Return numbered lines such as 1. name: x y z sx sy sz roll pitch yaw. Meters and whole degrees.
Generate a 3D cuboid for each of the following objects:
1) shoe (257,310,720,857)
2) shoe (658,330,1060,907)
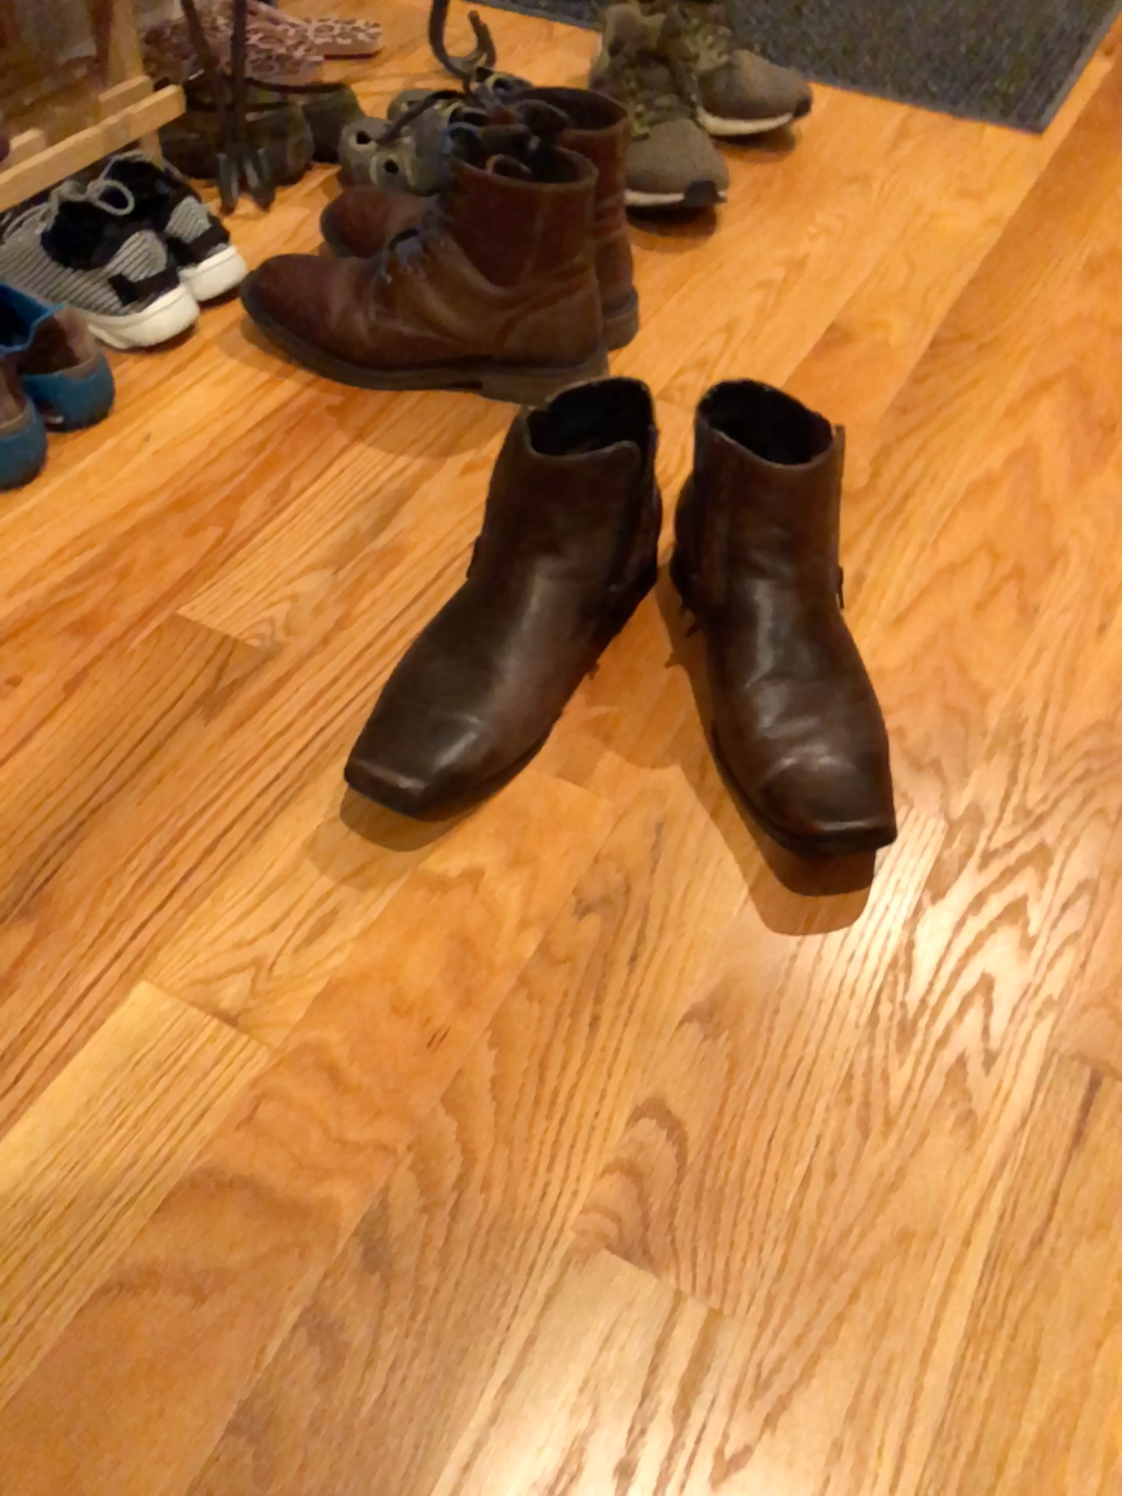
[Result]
1. shoe: -0.027 -0.105 0.705 0.109 0.142 0.292 23 52 18
2. shoe: 0.144 -0.084 0.698 0.109 0.152 0.302 -6 49 -6
